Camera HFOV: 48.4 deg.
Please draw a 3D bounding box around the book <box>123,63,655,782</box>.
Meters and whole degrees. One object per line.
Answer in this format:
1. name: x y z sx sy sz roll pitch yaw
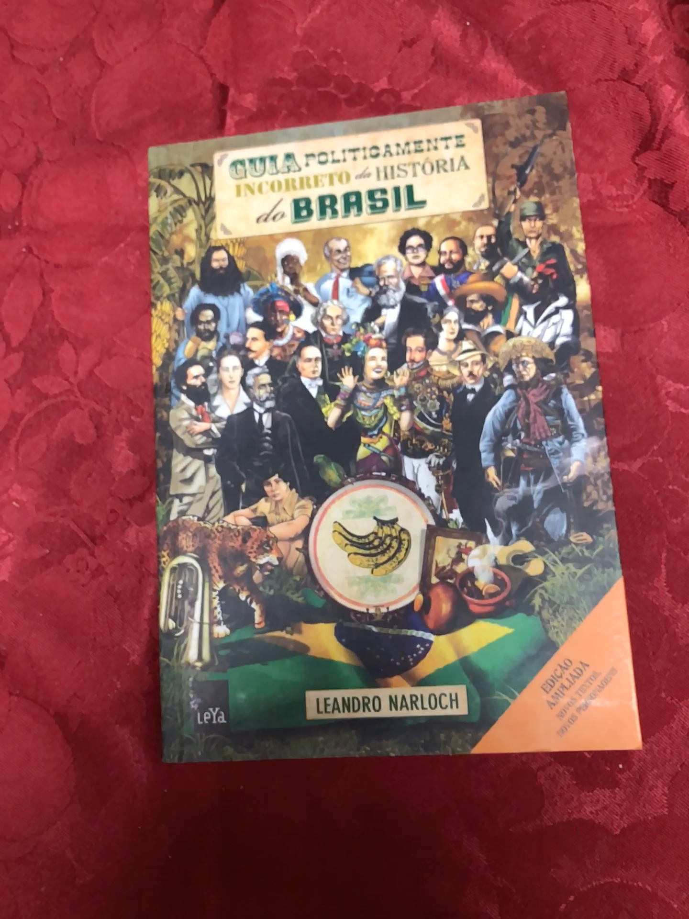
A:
1. book: 0.009 -0.013 0.274 0.160 0.030 0.230 -6 83 7
